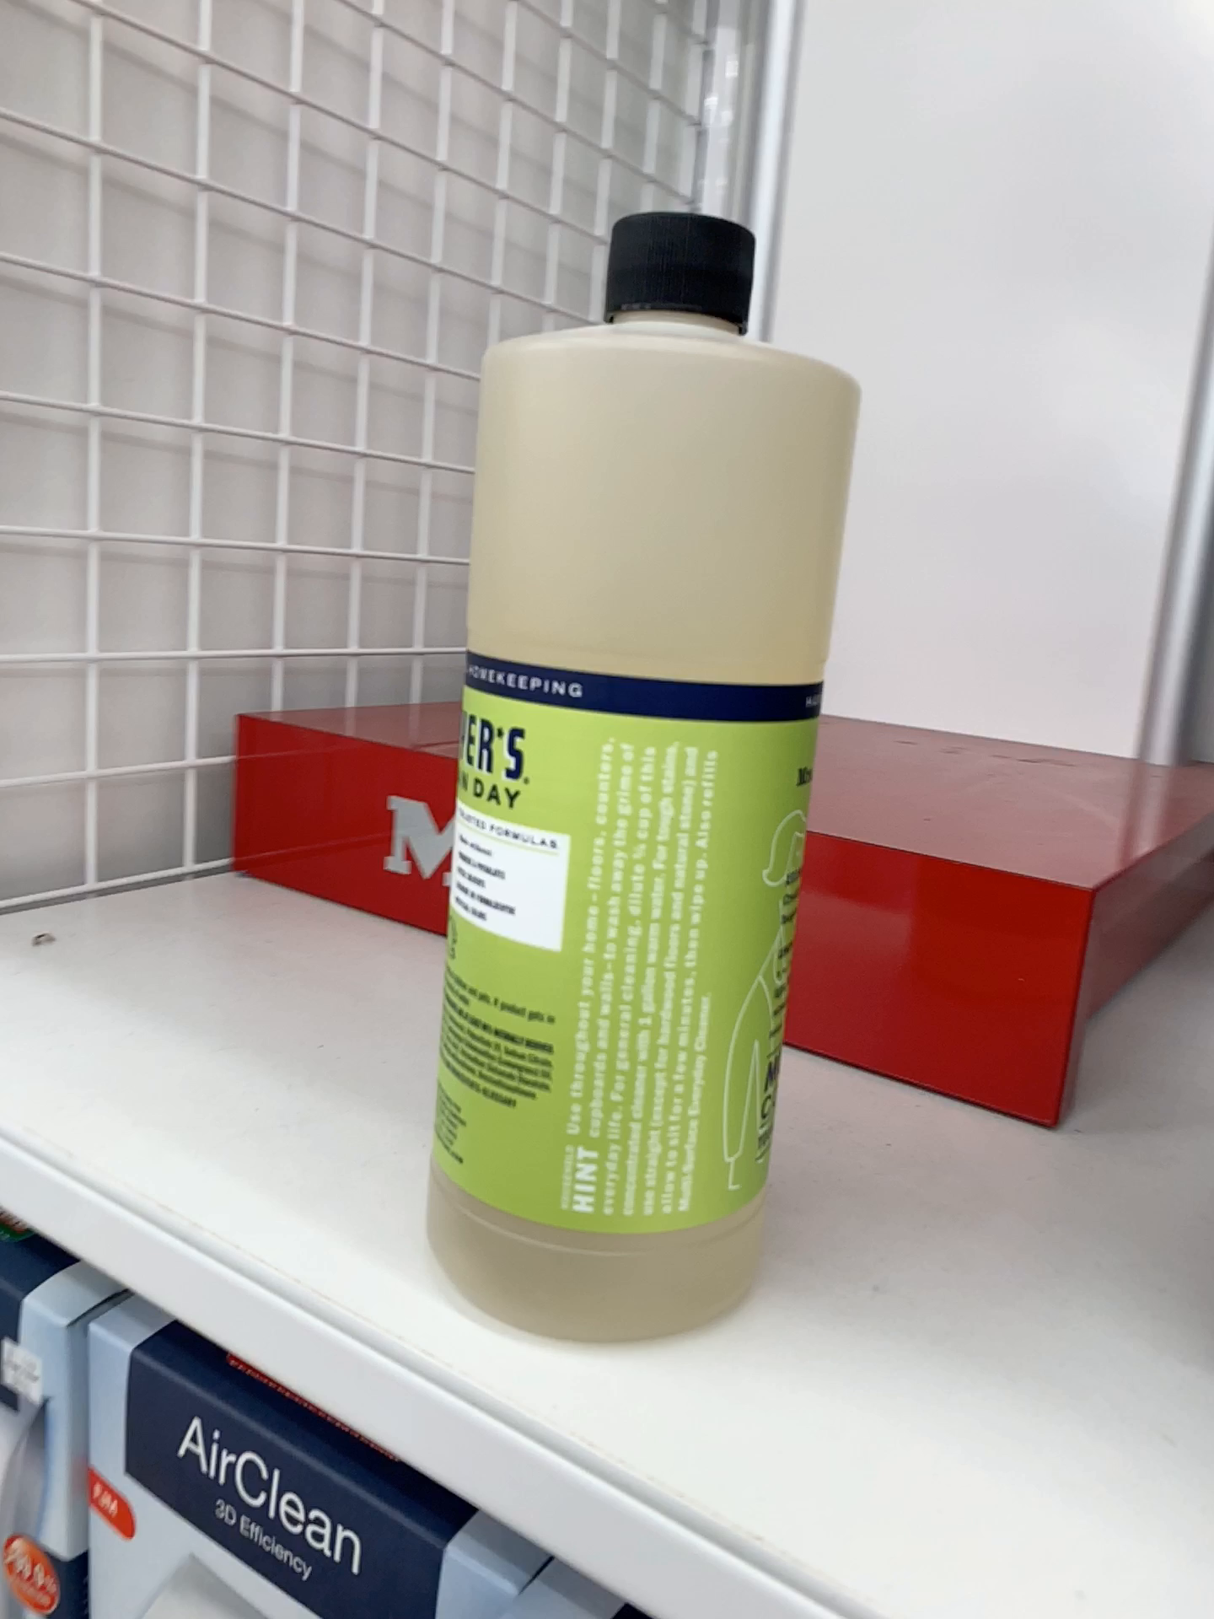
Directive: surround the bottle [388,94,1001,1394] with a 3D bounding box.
[{"bbox_3d":[0.008,-0.010,0.284,0.090,0.239,0.090,4,10,-1],"label":"bottle"}]
